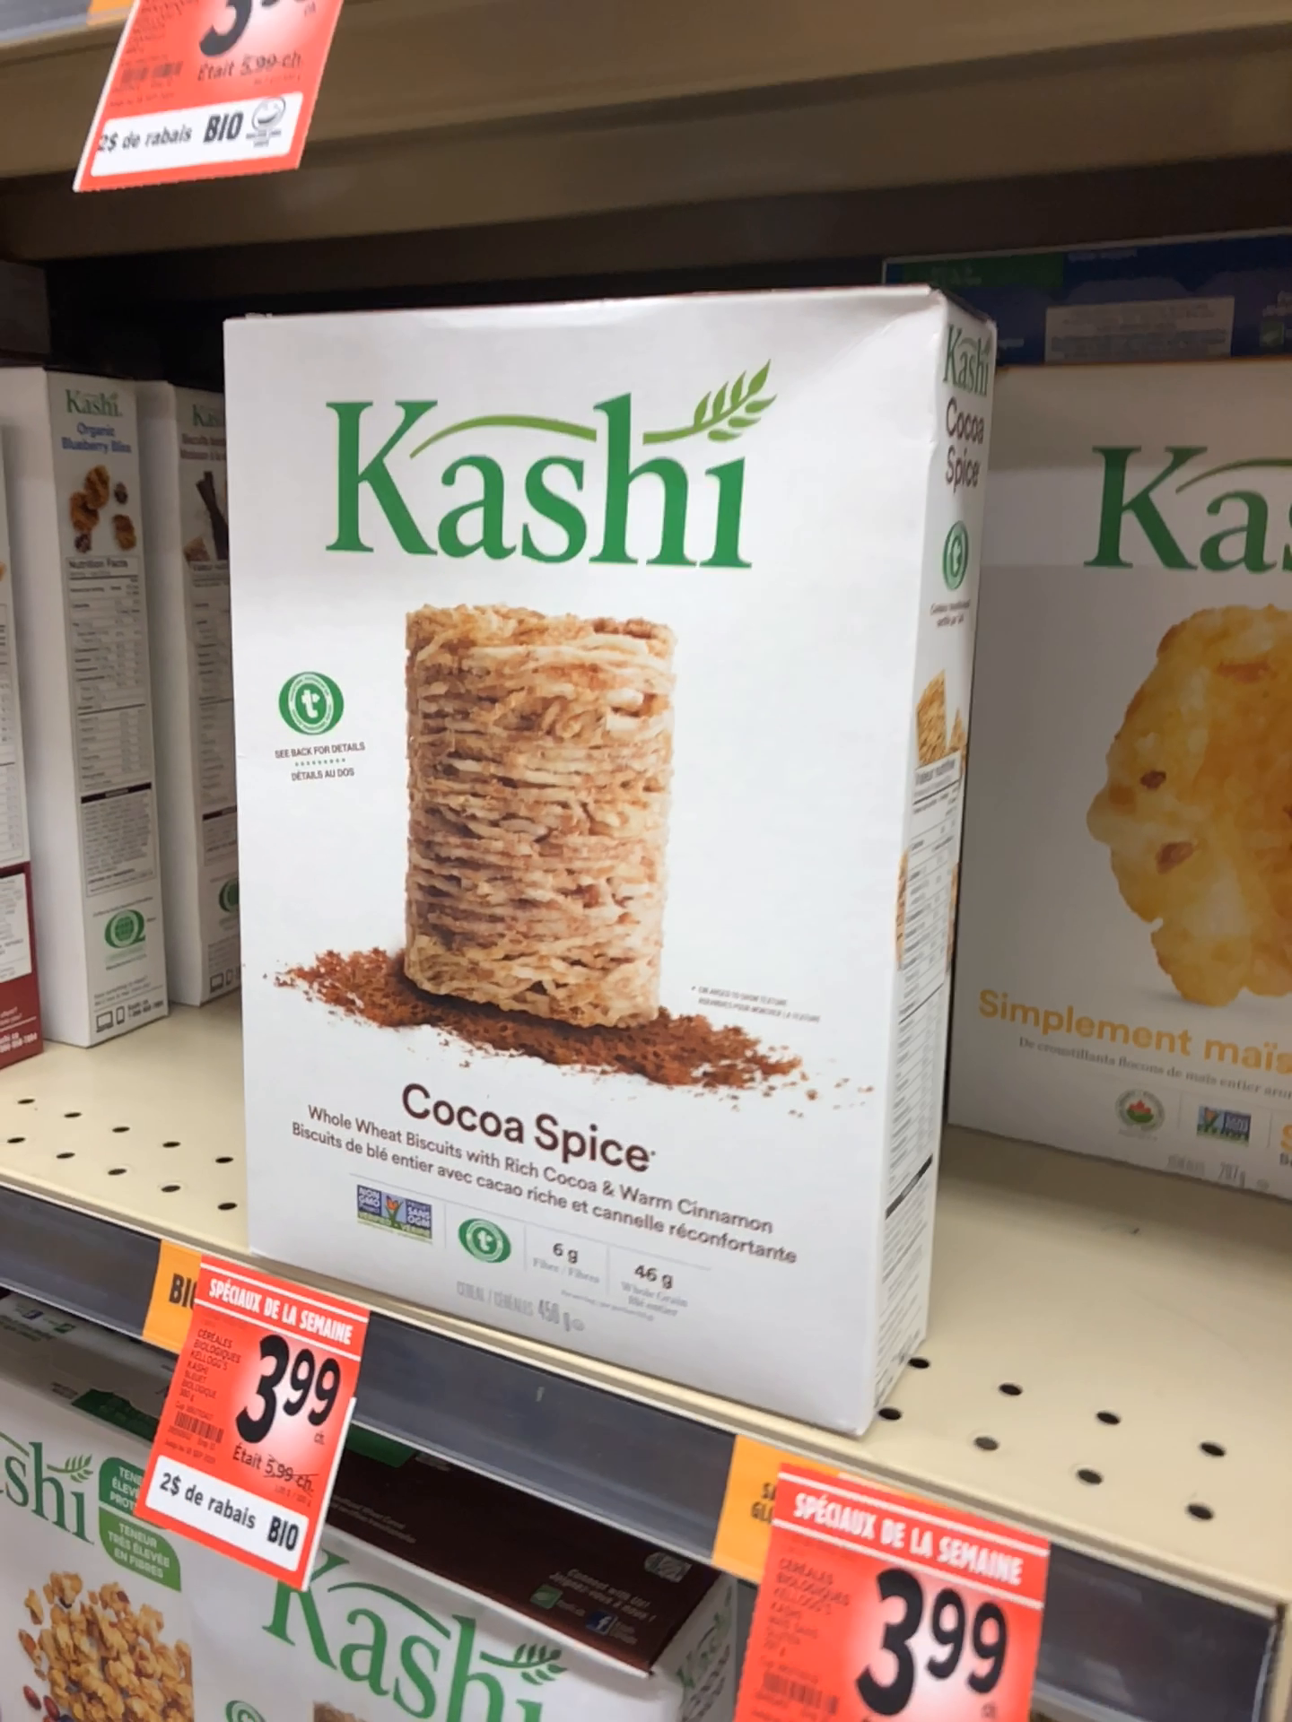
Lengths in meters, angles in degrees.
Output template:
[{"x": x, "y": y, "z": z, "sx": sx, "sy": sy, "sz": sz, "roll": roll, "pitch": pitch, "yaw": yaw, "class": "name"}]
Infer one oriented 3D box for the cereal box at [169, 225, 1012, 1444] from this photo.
[{"x": -0.023, "y": -0.012, "z": 0.391, "sx": 0.210, "sy": 0.279, "sz": 0.060, "roll": 7, "pitch": 13, "yaw": 25, "class": "cereal box"}]
